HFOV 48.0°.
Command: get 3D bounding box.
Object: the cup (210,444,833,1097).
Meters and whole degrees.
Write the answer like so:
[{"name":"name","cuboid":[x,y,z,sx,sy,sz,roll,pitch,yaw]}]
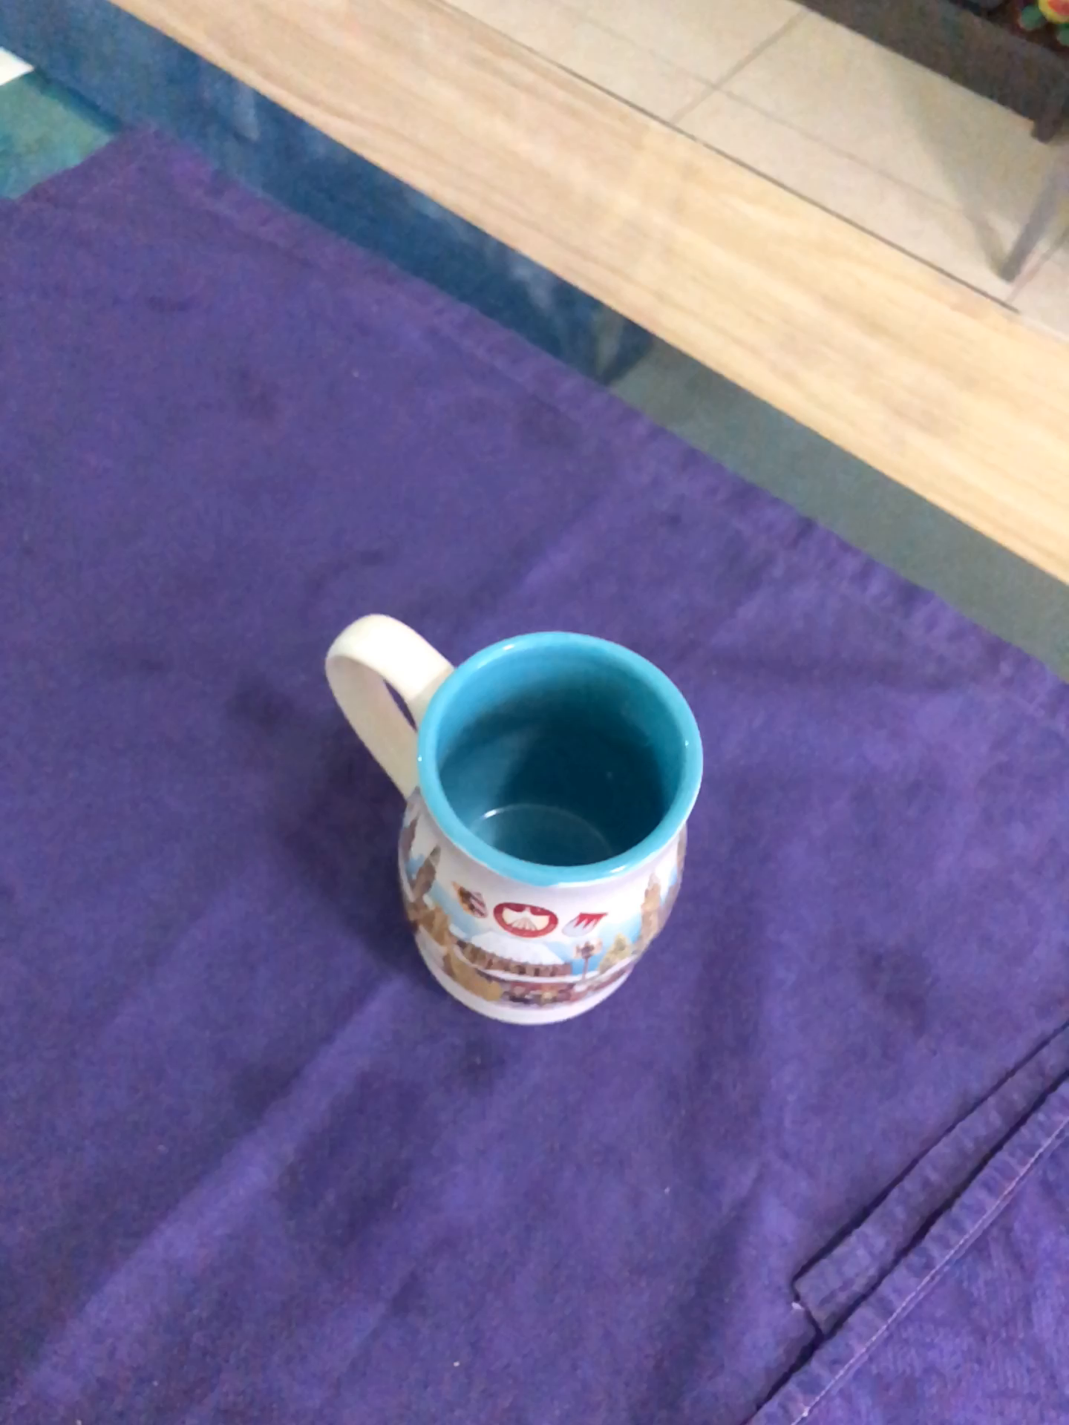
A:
[{"name":"cup","cuboid":[-0.007,0.019,0.322,0.120,0.110,0.080,39,65,16]}]
